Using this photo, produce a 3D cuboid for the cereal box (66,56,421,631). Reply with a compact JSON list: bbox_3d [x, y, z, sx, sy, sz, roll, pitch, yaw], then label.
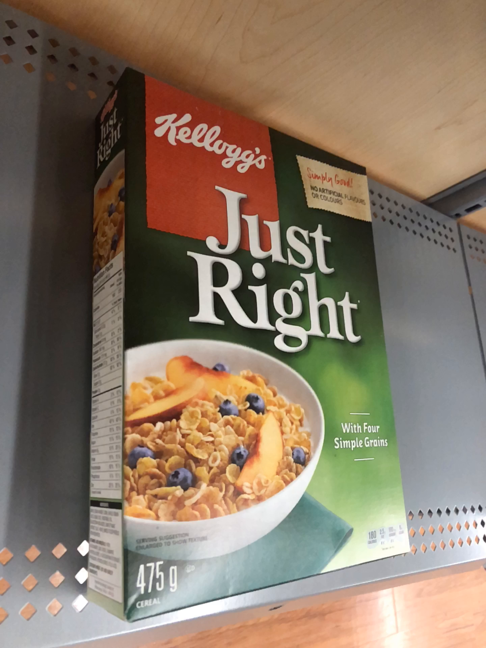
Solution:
[{"bbox_3d":[0.004,0.008,0.329,0.201,0.060,0.270,8,71,-37],"label":"cereal box"}]
